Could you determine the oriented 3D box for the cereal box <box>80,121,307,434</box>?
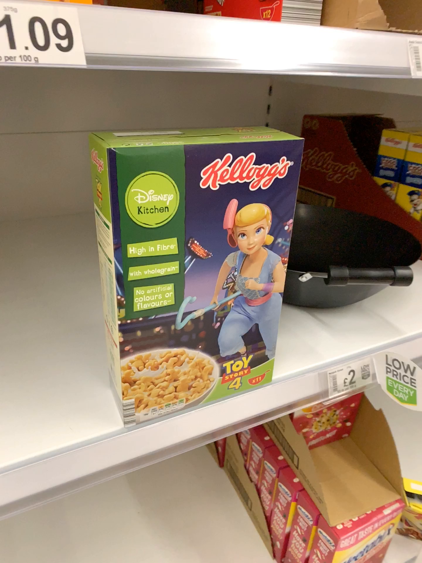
[{"bbox_3d":[-0.020,-0.006,0.461,0.190,0.297,0.081,-10,29,-24],"label":"cereal box"}]
